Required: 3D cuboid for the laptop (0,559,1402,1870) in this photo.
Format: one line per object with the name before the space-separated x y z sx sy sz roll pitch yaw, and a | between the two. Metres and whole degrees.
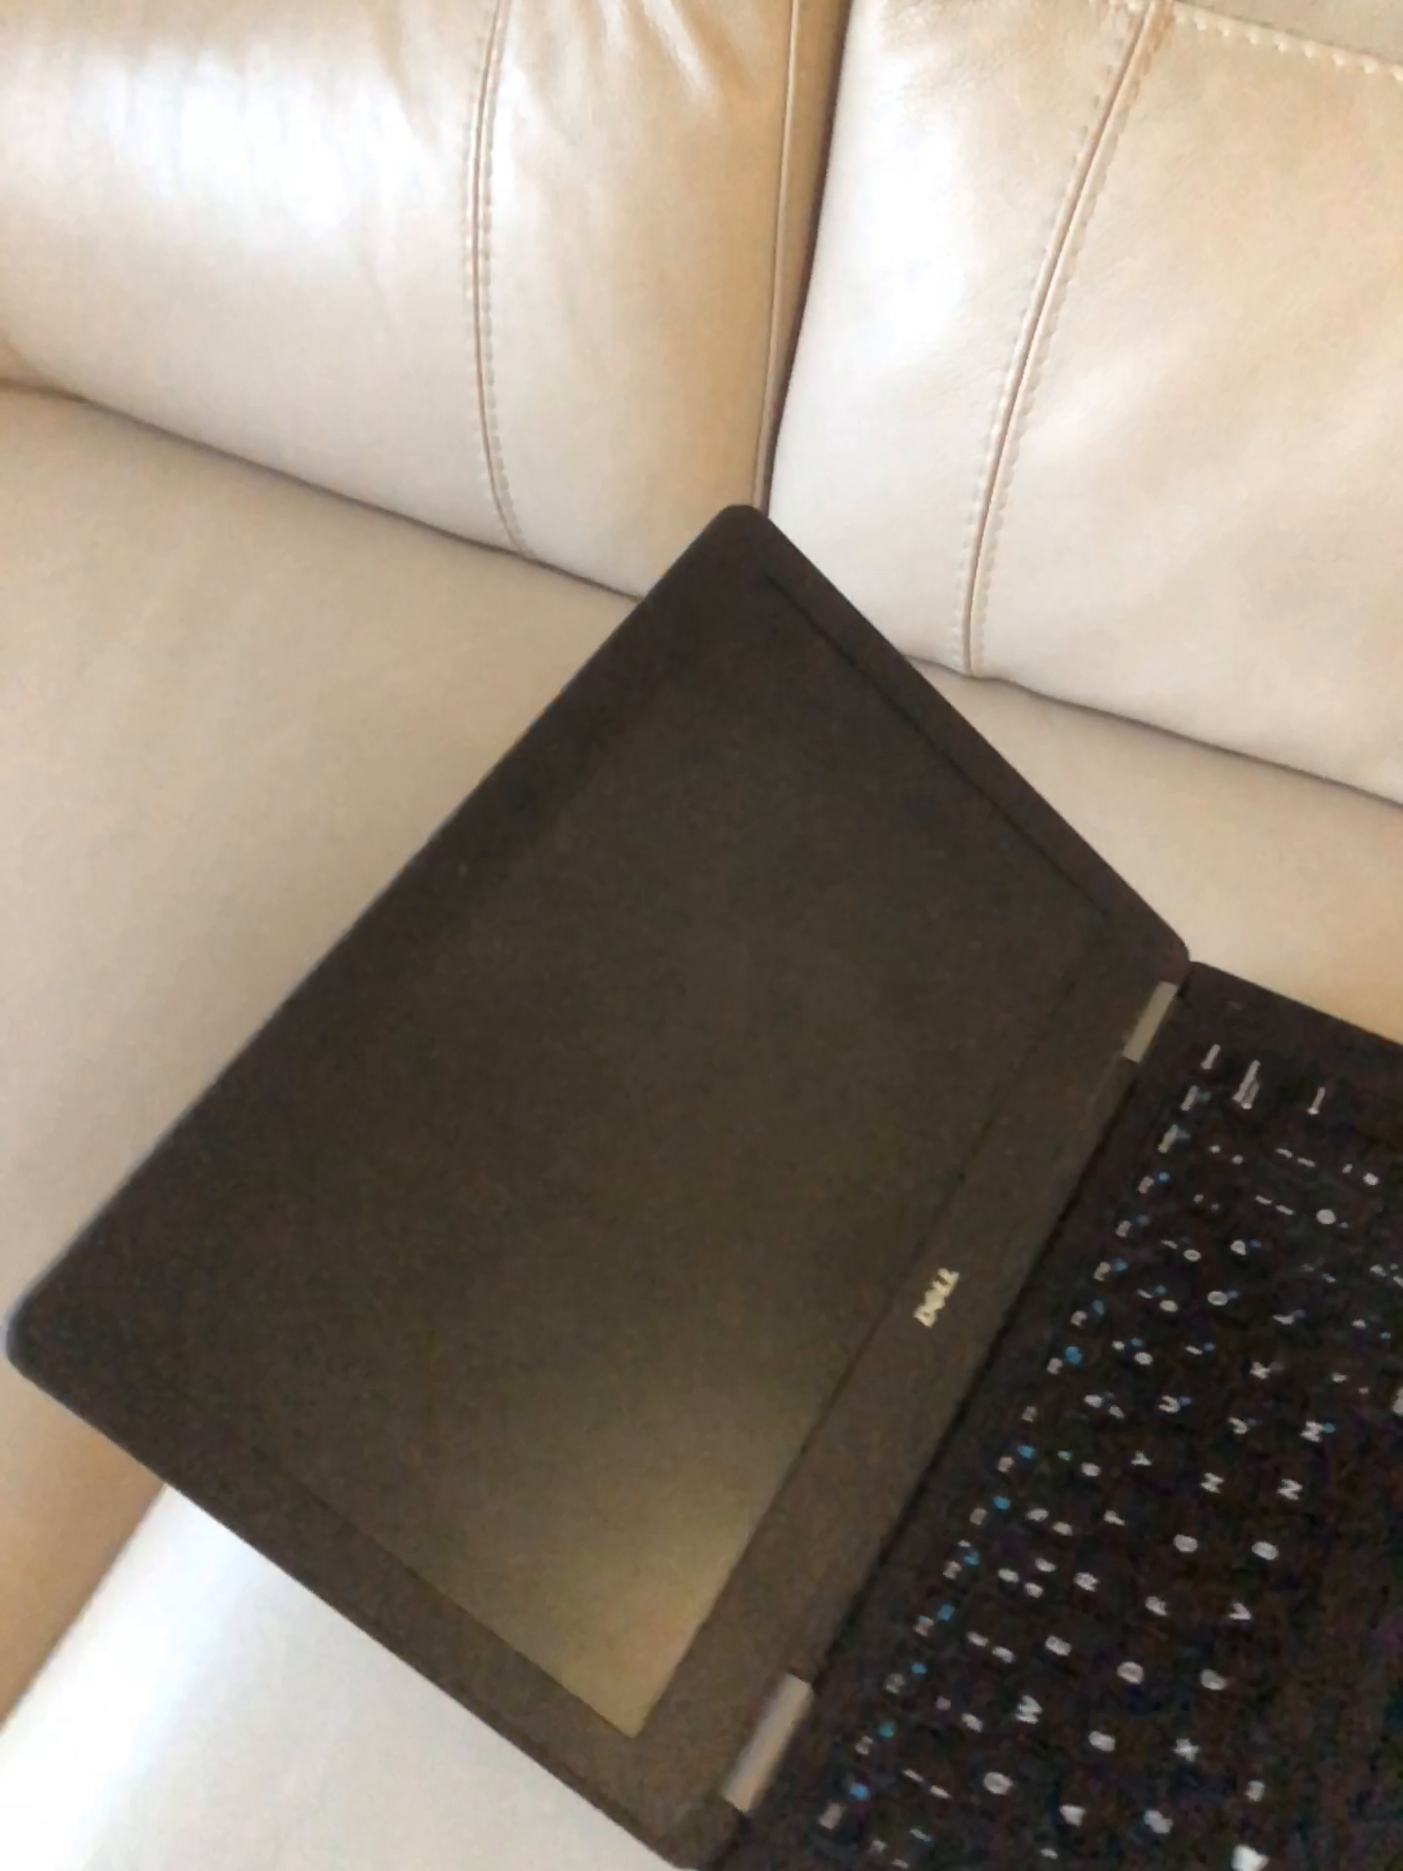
laptop | 0.087 0.092 0.388 0.375 0.124 0.306 24 61 24
